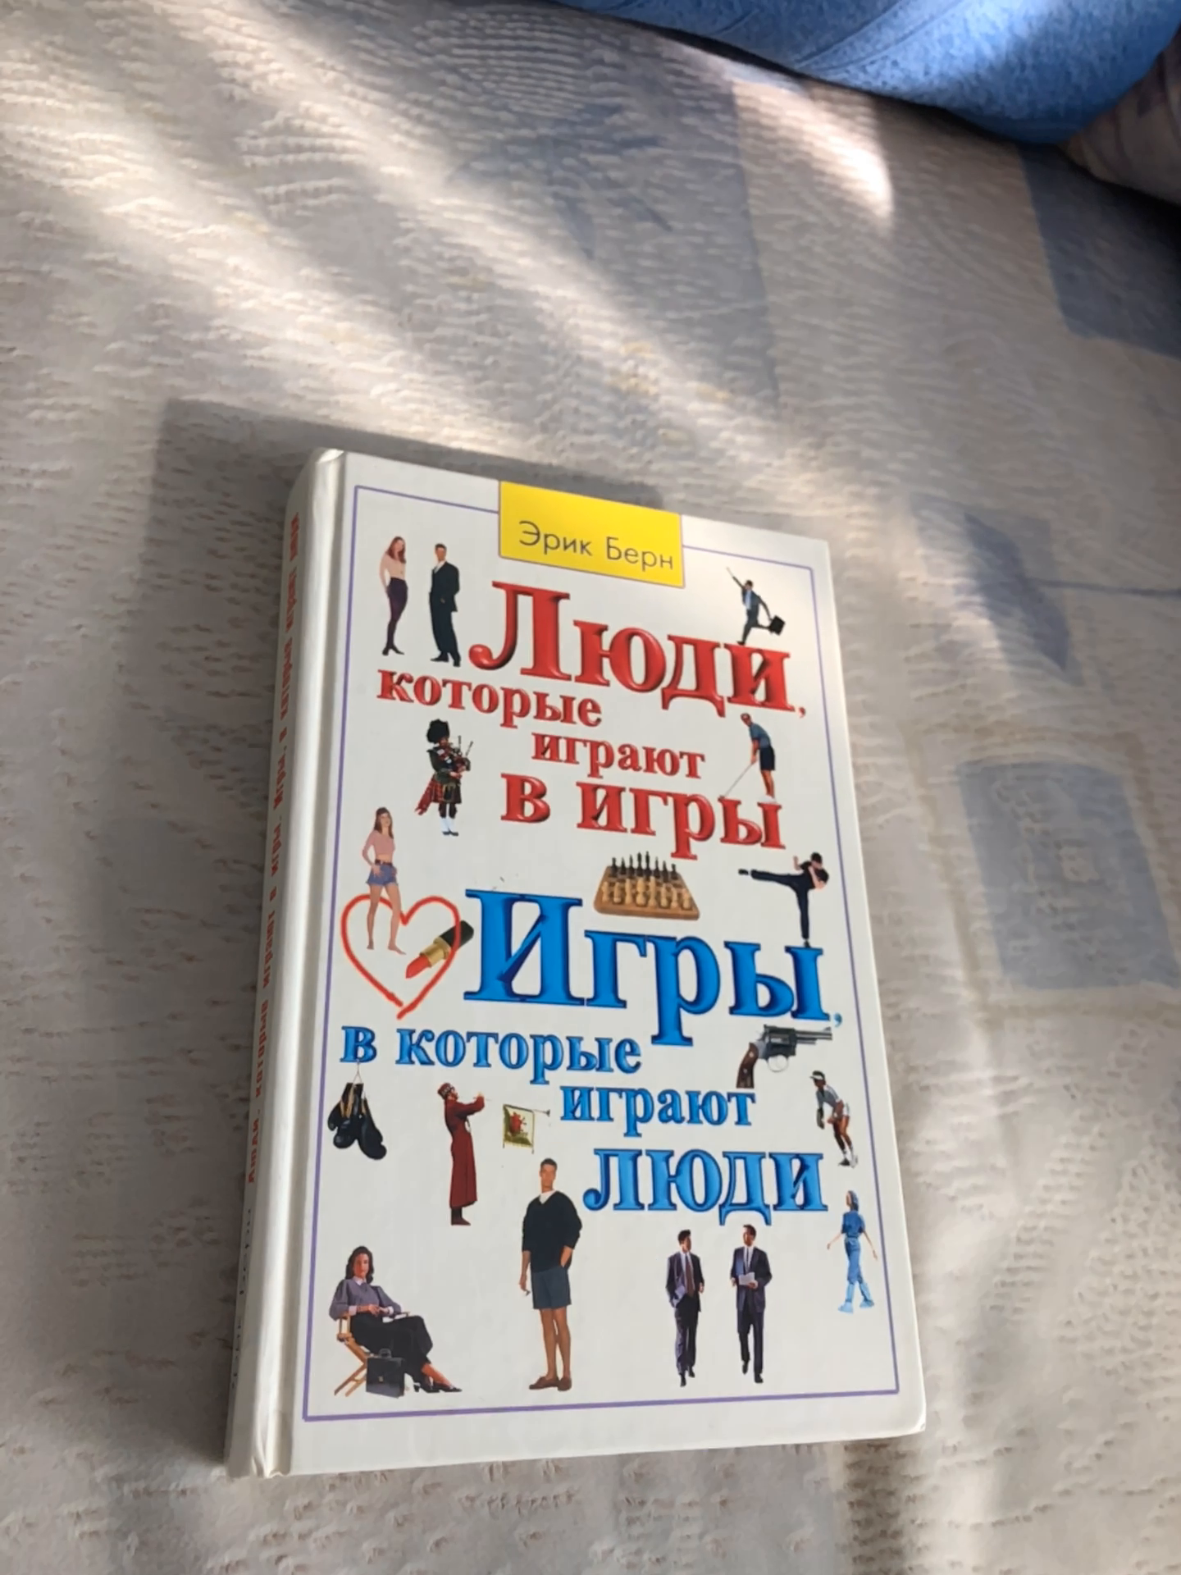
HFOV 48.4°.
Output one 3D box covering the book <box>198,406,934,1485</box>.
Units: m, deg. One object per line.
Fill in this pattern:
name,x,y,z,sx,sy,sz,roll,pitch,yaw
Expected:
book,-0.004,0.026,0.285,0.135,0.030,0.211,7,66,-21
